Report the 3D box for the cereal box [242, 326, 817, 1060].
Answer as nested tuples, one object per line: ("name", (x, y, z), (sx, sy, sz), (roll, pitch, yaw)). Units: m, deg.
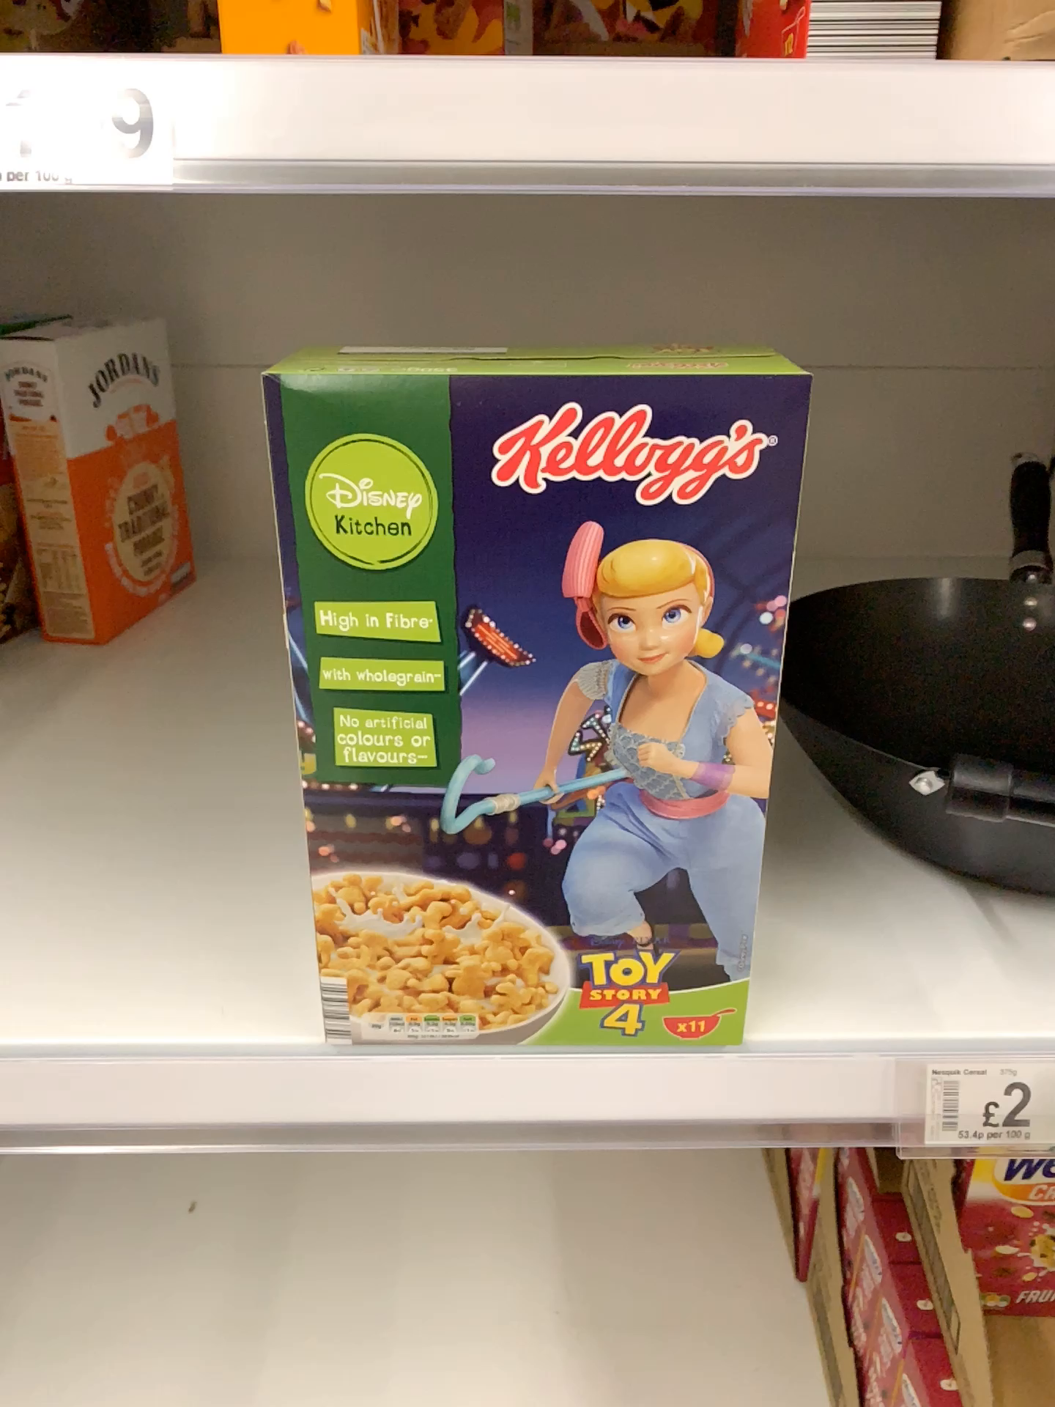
("cereal box", (0.000, 0.003, 0.457), (0.190, 0.298, 0.081), (1, 24, 0))
